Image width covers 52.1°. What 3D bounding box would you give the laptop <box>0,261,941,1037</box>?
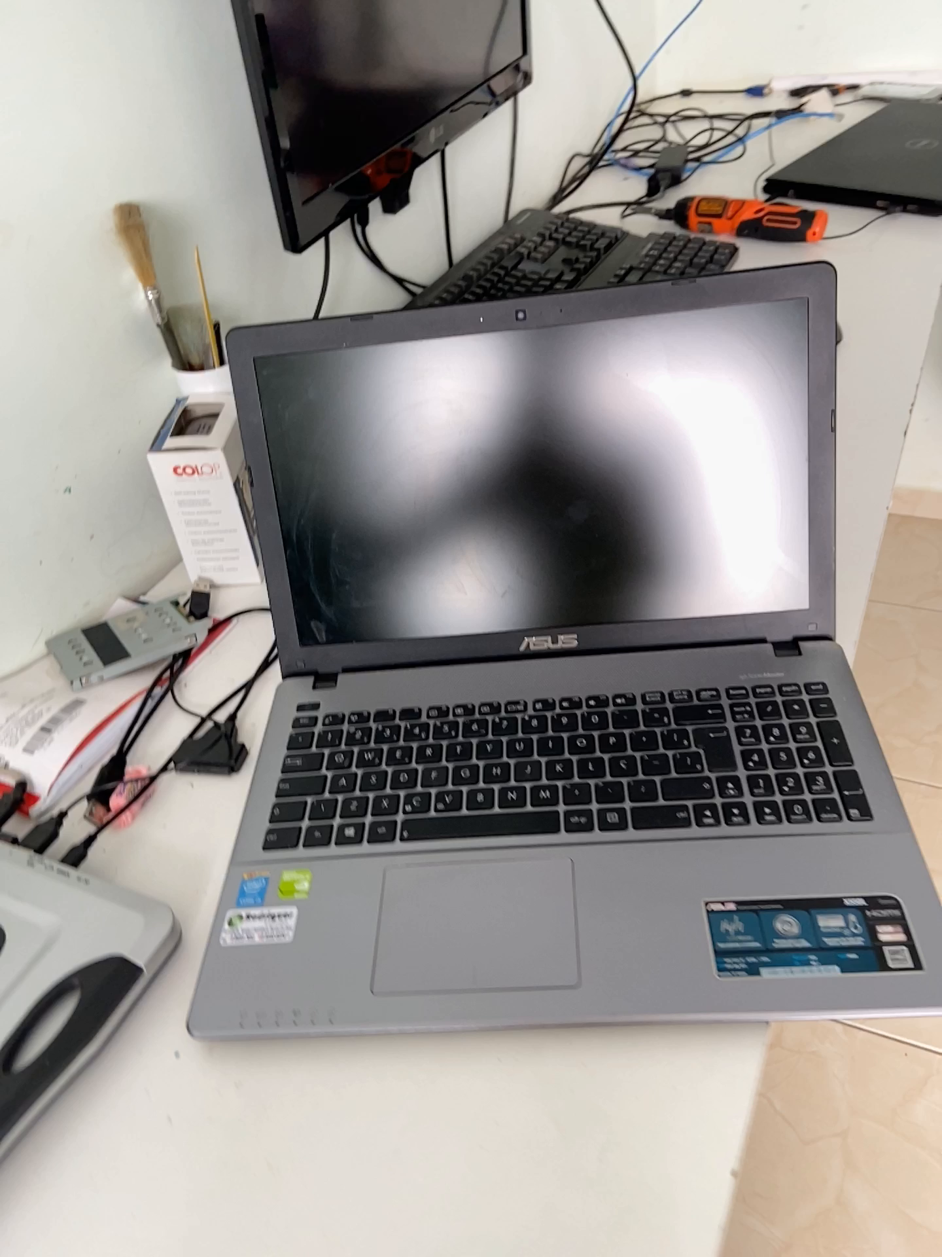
[{"bbox_3d":[0.035,-0.008,0.532,0.376,0.213,0.358,-5,40,6],"label":"laptop"}]
